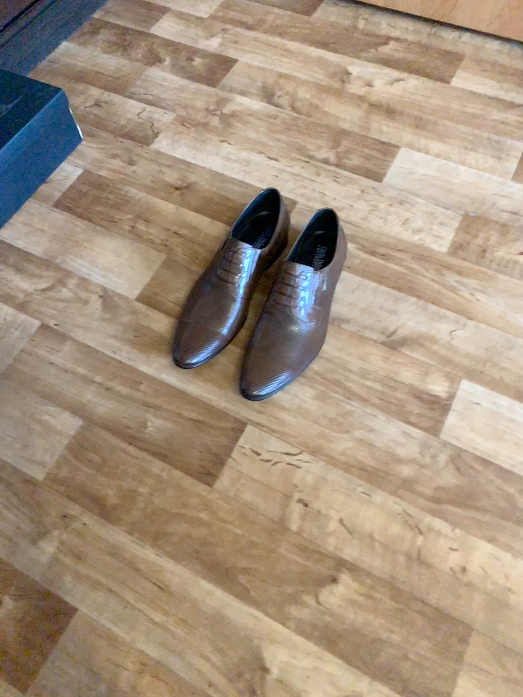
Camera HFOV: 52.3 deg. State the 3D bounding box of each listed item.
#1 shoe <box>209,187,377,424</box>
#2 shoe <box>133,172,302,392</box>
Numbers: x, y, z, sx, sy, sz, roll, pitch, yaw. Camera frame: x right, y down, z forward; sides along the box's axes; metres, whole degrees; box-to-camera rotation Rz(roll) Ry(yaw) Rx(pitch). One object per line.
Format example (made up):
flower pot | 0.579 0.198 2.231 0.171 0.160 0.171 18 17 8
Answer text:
shoe | 0.052 -0.068 0.745 0.110 0.100 0.310 21 65 13
shoe | -0.051 -0.103 0.793 0.100 0.120 0.300 24 66 15
